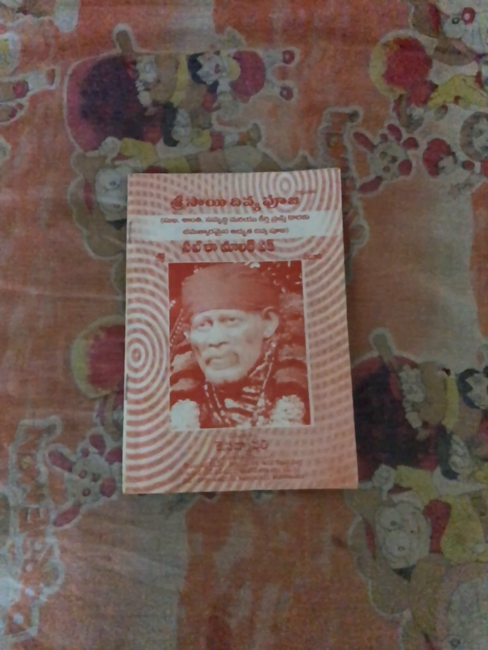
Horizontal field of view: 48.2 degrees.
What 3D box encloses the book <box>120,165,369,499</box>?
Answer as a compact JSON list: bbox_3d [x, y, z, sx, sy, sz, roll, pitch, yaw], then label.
[{"bbox_3d":[-0.001,-0.001,0.285,0.120,0.010,0.173,-1,78,-1],"label":"book"}]
